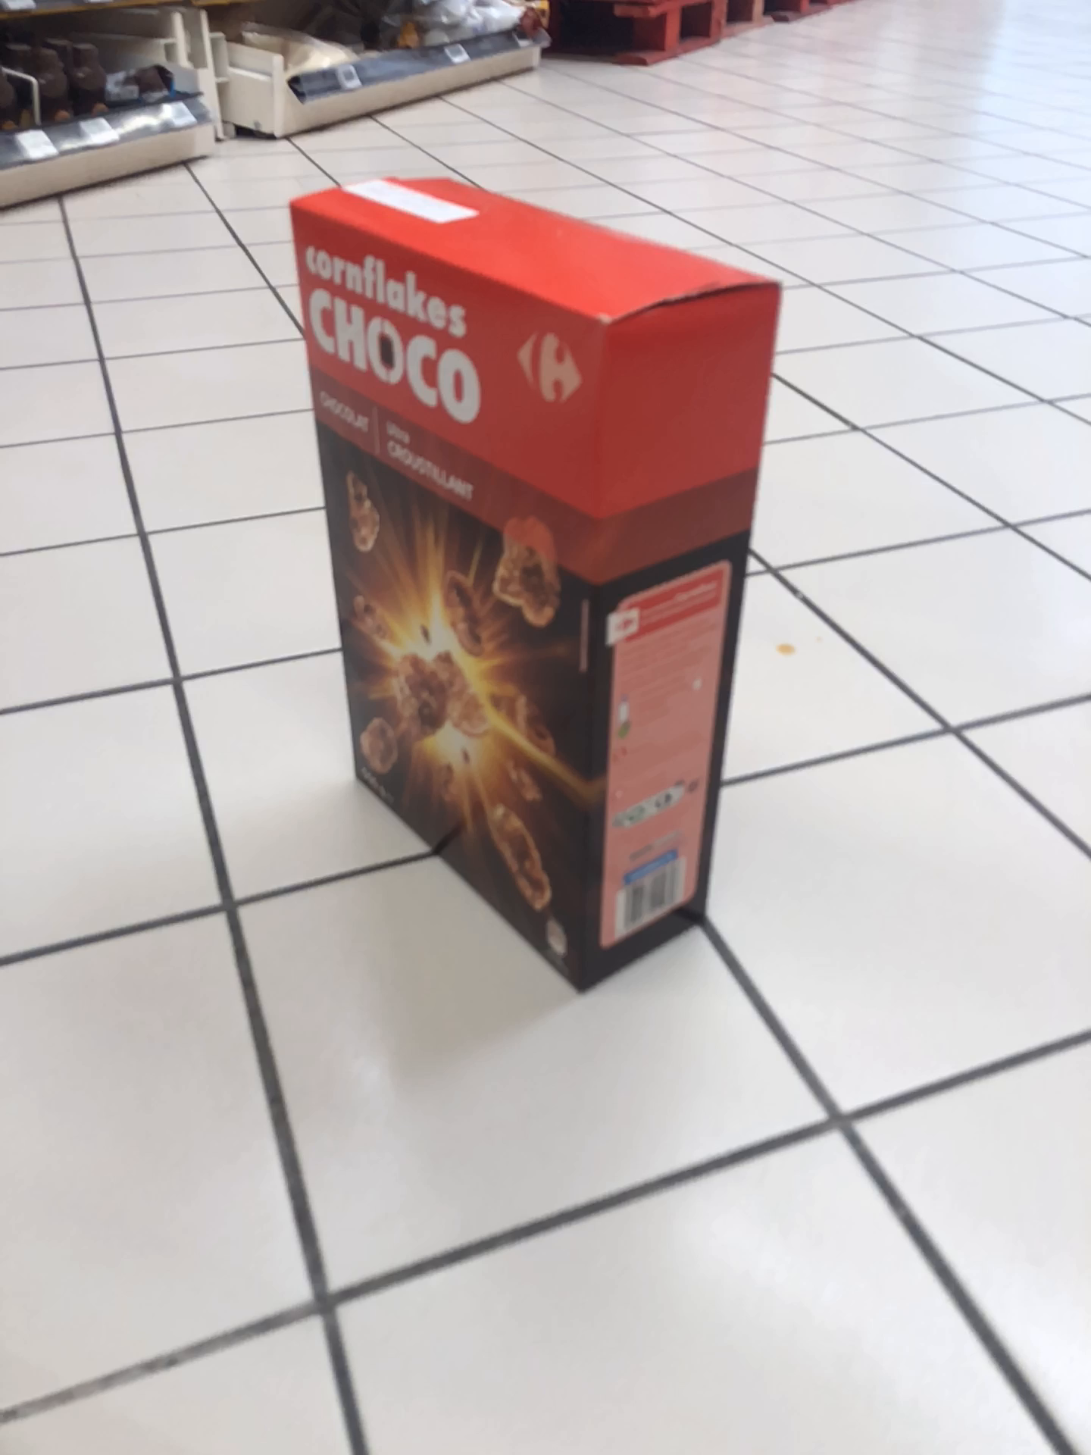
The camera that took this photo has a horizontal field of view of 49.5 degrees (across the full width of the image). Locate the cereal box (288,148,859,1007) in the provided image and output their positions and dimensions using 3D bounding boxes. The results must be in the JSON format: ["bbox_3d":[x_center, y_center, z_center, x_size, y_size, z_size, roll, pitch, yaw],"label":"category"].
[{"bbox_3d":[-0.002,-0.064,0.482,0.090,0.278,0.200,-23,41,-30],"label":"cereal box"}]
